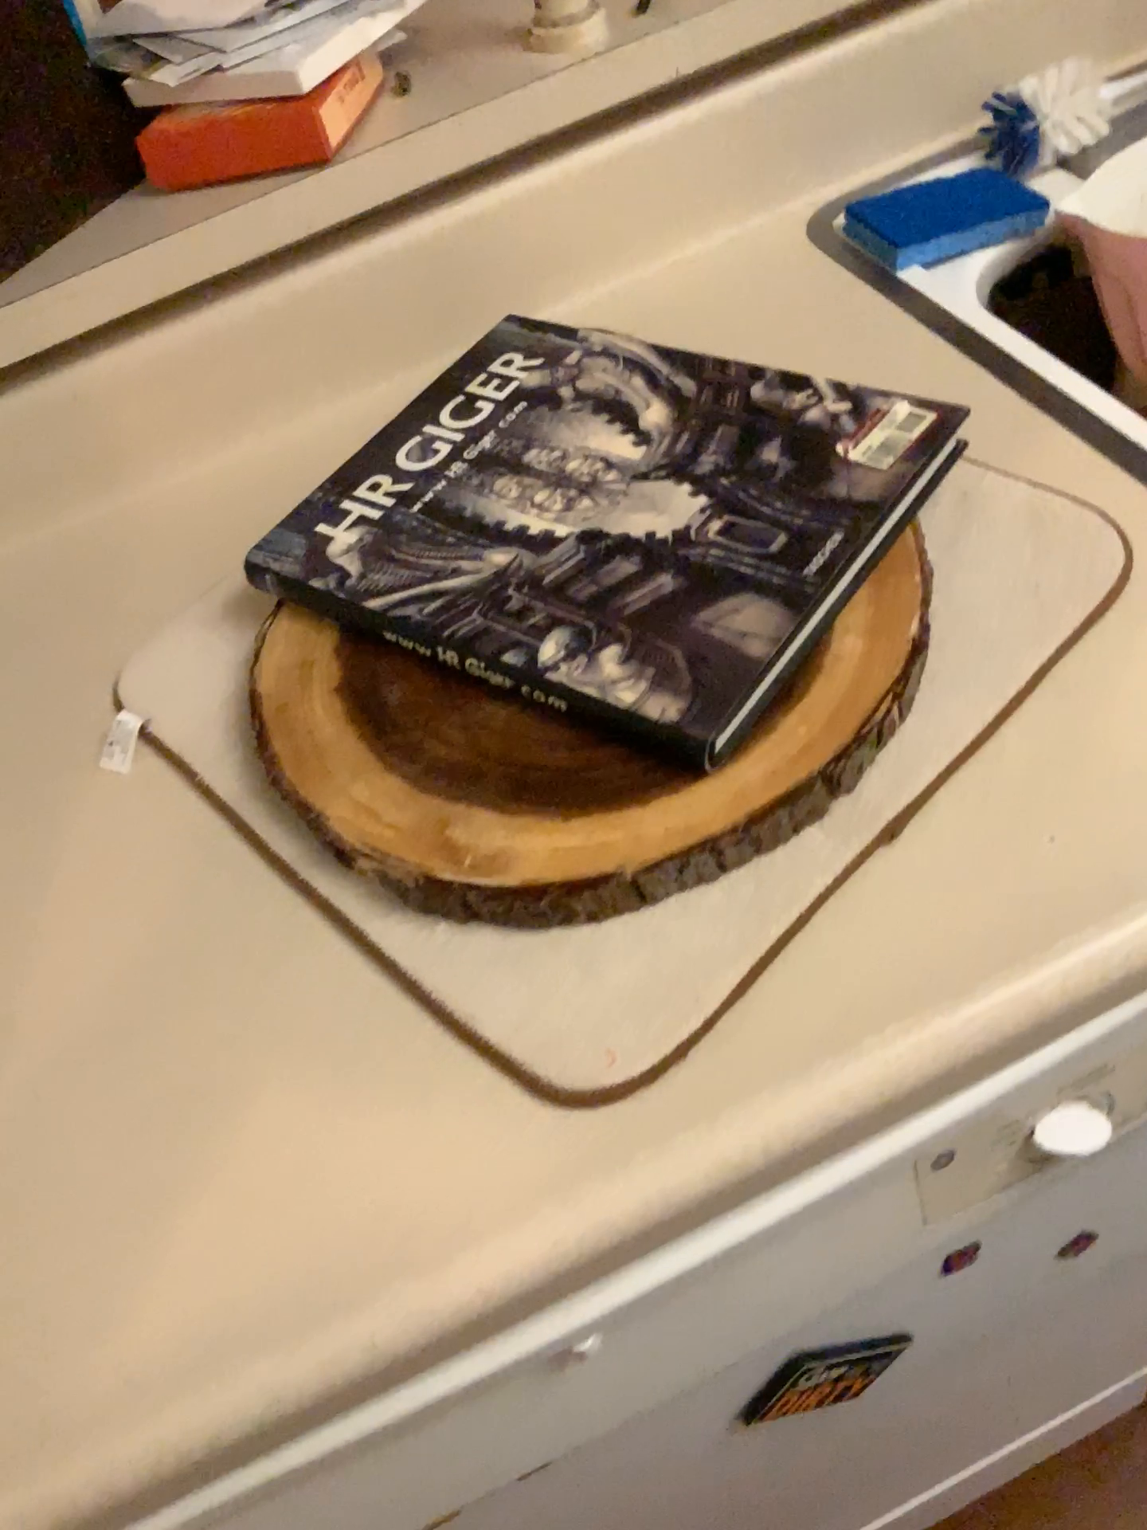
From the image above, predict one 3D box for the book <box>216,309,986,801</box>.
[{"bbox_3d":[0.010,-0.142,0.693,0.330,0.030,0.270,22,59,31],"label":"book"}]
